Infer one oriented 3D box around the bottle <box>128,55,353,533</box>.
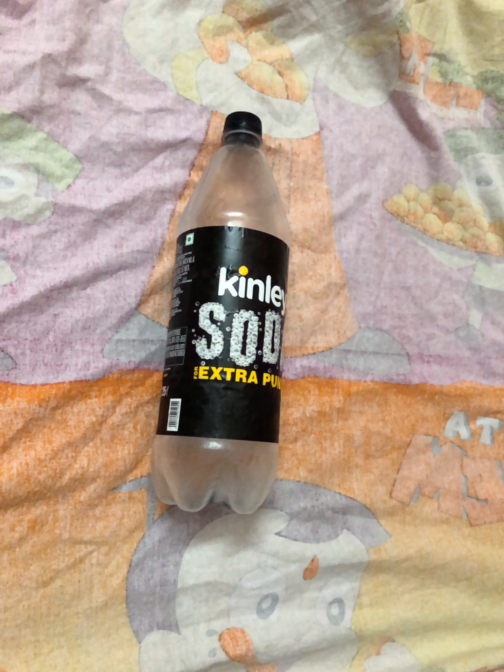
[{"bbox_3d":[-0.006,-0.023,0.377,0.090,0.080,0.280,12,82,-37],"label":"bottle"}]
